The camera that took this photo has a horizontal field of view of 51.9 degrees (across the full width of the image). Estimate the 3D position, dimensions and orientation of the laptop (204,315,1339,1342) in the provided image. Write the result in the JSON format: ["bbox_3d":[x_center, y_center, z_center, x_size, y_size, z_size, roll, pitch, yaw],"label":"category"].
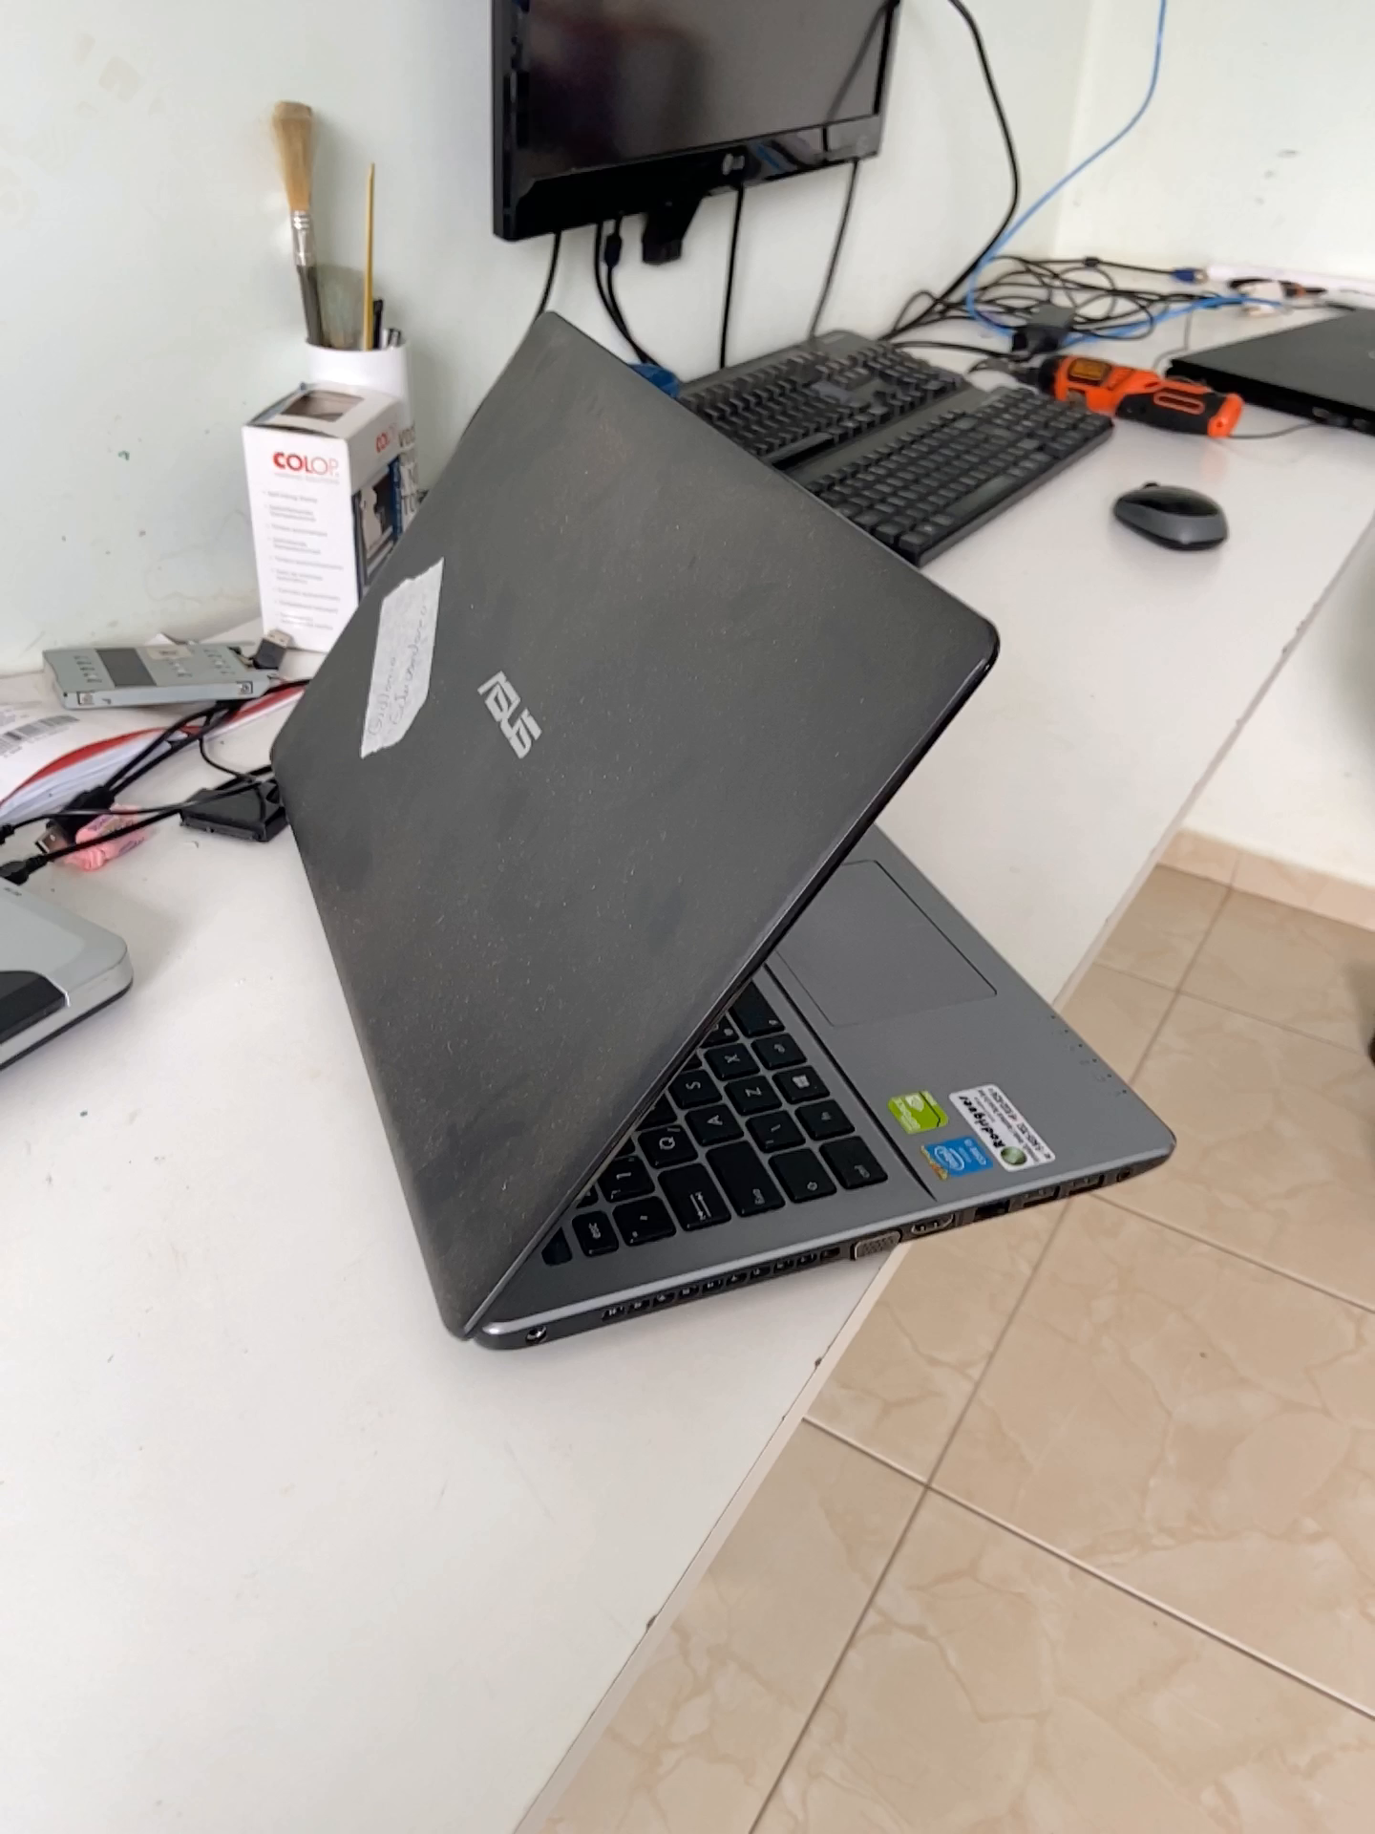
[{"bbox_3d":[-0.015,-0.078,0.521,0.245,0.190,0.366,-11,36,-19],"label":"laptop"}]
